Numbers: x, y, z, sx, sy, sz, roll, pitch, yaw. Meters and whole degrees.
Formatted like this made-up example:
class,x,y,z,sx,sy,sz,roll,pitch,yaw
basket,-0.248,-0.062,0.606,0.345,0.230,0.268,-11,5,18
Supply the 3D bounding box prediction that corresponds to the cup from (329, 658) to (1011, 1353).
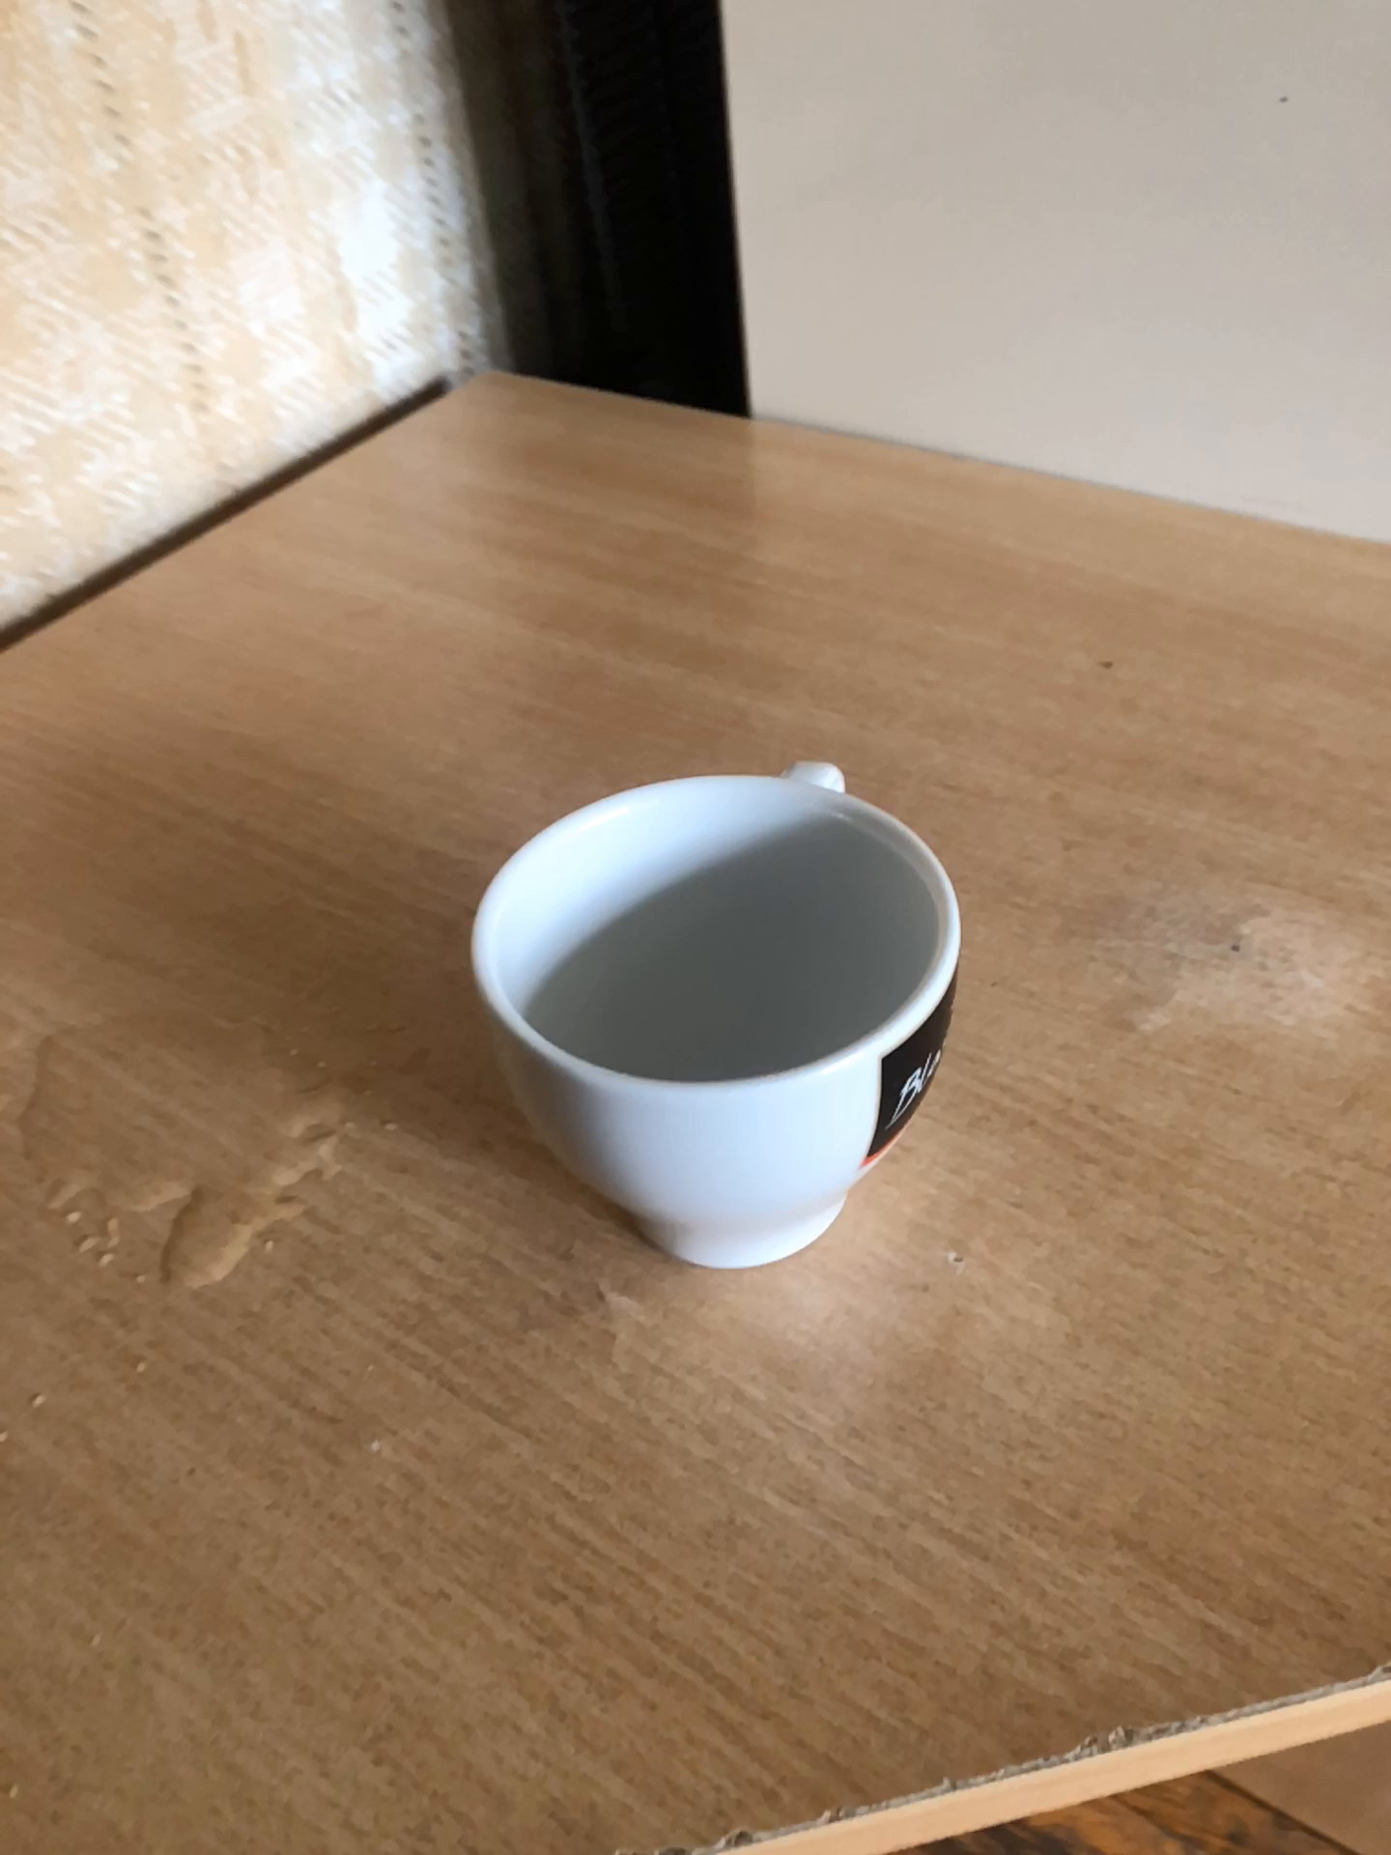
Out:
class,x,y,z,sx,sy,sz,roll,pitch,yaw
cup,0.003,0.006,0.268,0.080,0.050,0.105,9,43,18
